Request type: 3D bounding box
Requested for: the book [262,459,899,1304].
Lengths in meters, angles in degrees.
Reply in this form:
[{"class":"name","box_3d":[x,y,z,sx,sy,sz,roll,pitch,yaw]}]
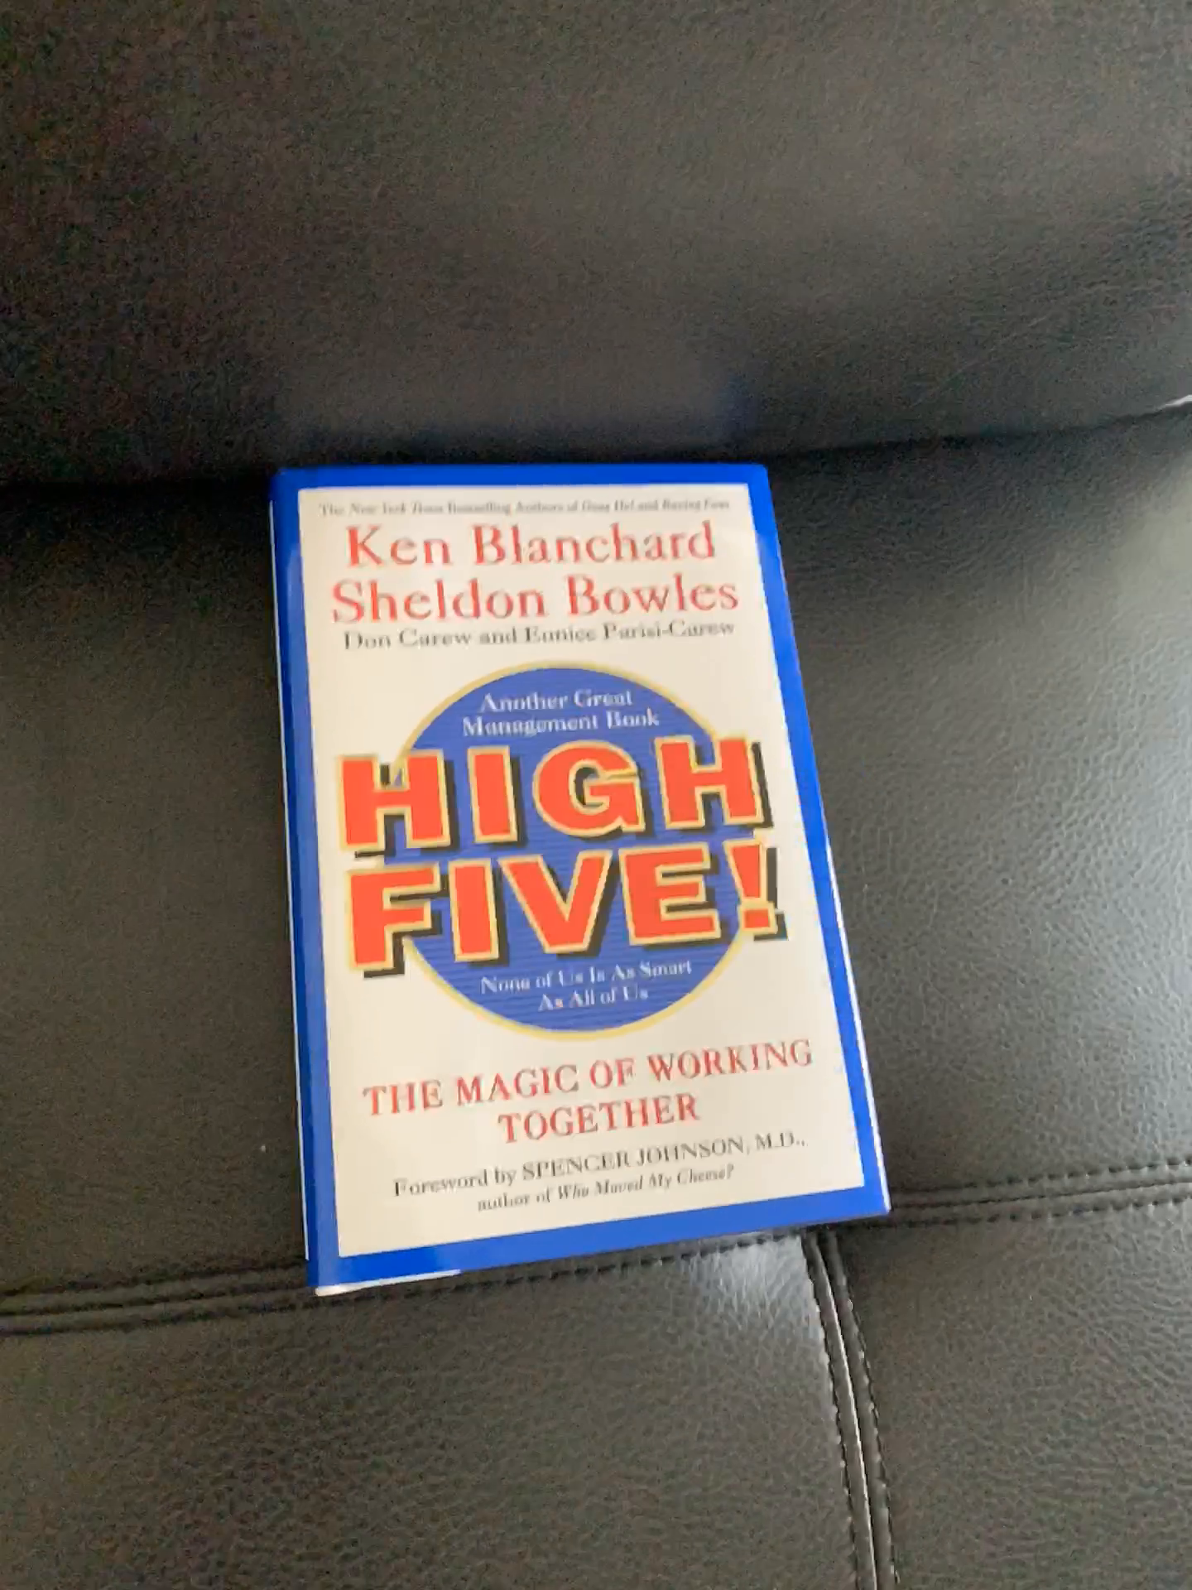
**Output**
[{"class":"book","box_3d":[-0.009,0.011,0.343,0.150,0.023,0.220,-4,75,-12]}]
